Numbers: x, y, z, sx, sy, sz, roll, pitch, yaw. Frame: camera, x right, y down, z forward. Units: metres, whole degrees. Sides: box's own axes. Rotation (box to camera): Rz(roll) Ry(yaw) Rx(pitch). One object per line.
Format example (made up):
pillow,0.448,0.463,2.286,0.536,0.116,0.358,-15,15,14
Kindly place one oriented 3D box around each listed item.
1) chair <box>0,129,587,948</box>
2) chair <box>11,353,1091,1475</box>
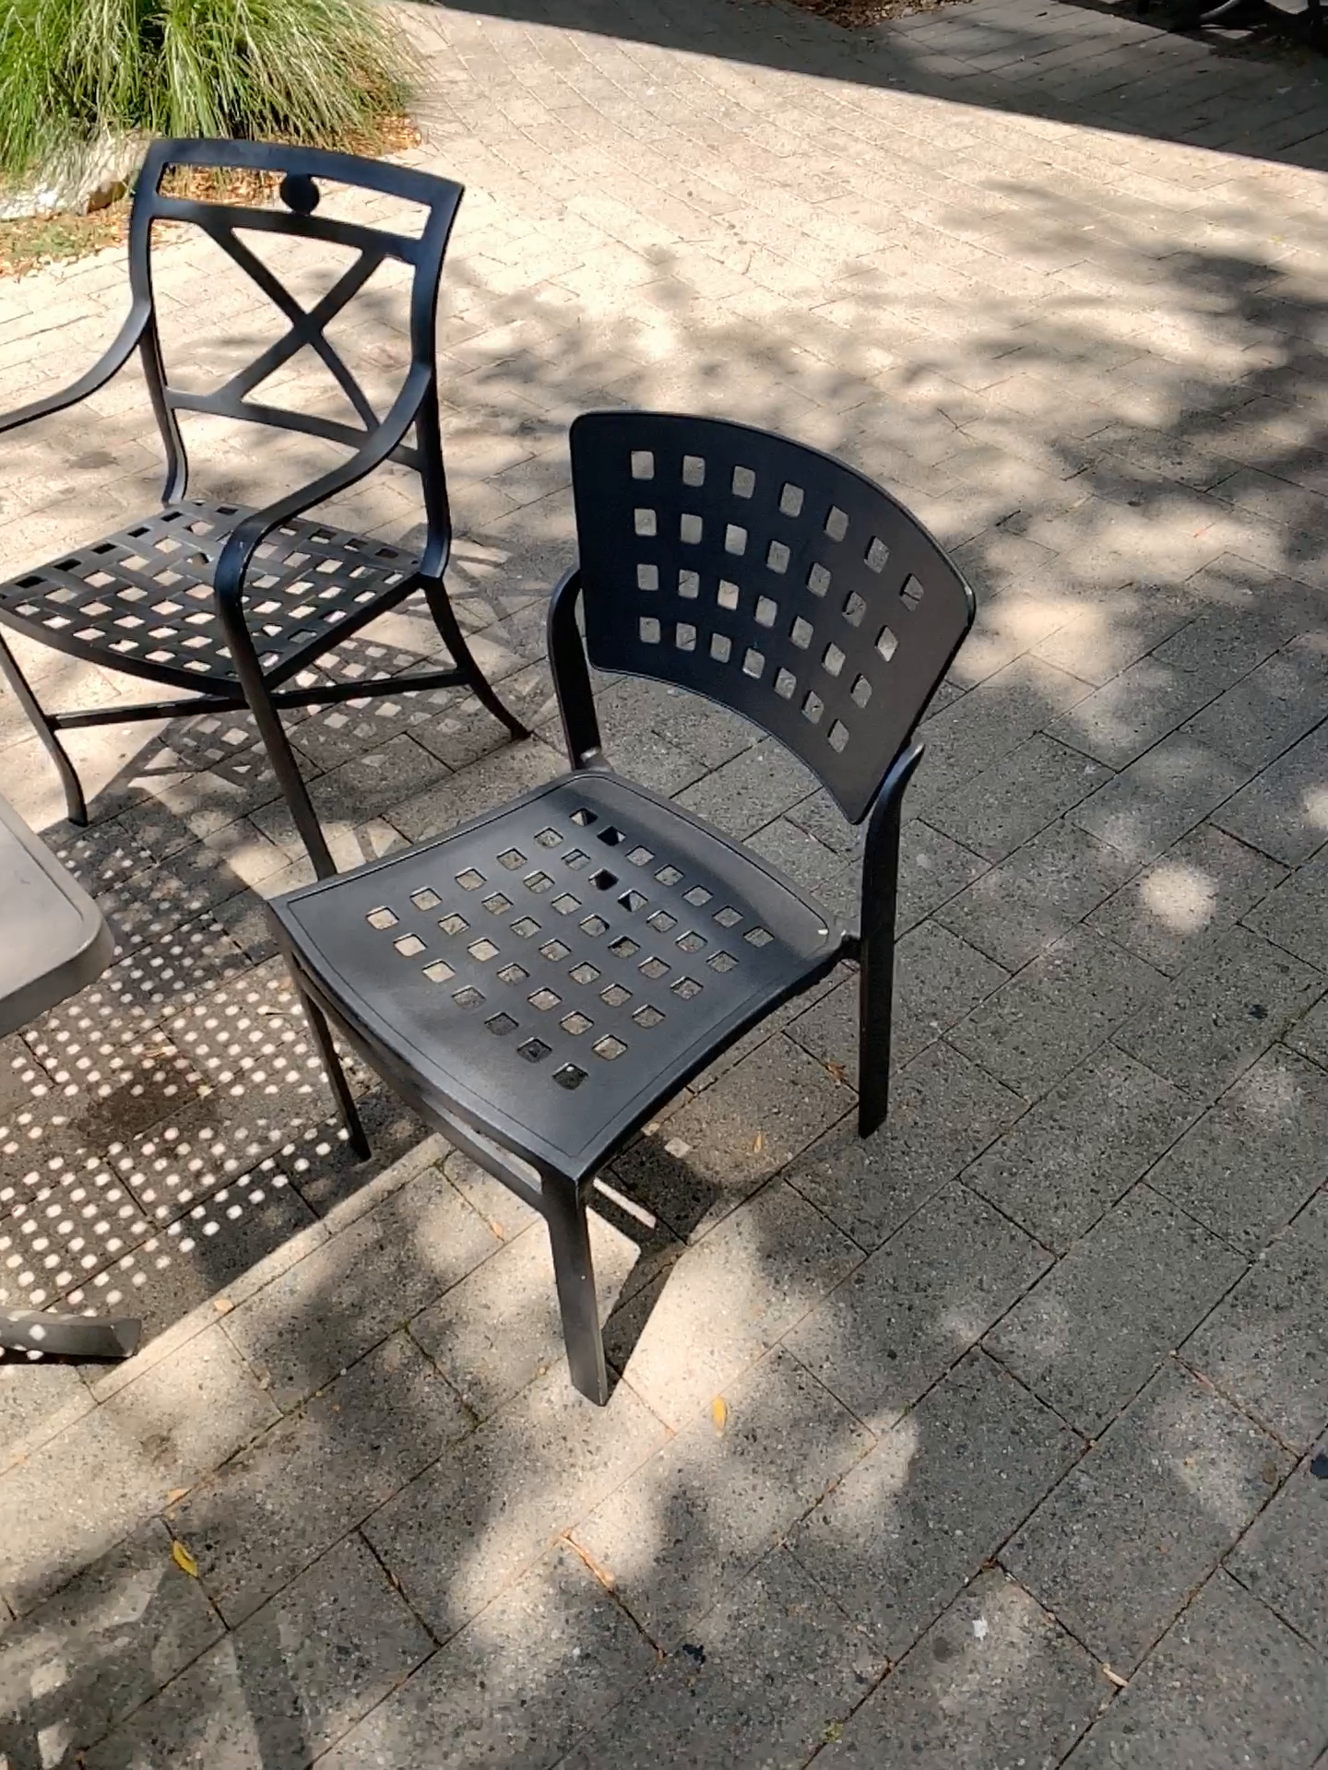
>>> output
chair,-0.562,-0.485,1.838,0.621,0.756,0.652,18,49,20
chair,-0.079,0.001,1.370,0.622,0.706,0.651,33,55,30
